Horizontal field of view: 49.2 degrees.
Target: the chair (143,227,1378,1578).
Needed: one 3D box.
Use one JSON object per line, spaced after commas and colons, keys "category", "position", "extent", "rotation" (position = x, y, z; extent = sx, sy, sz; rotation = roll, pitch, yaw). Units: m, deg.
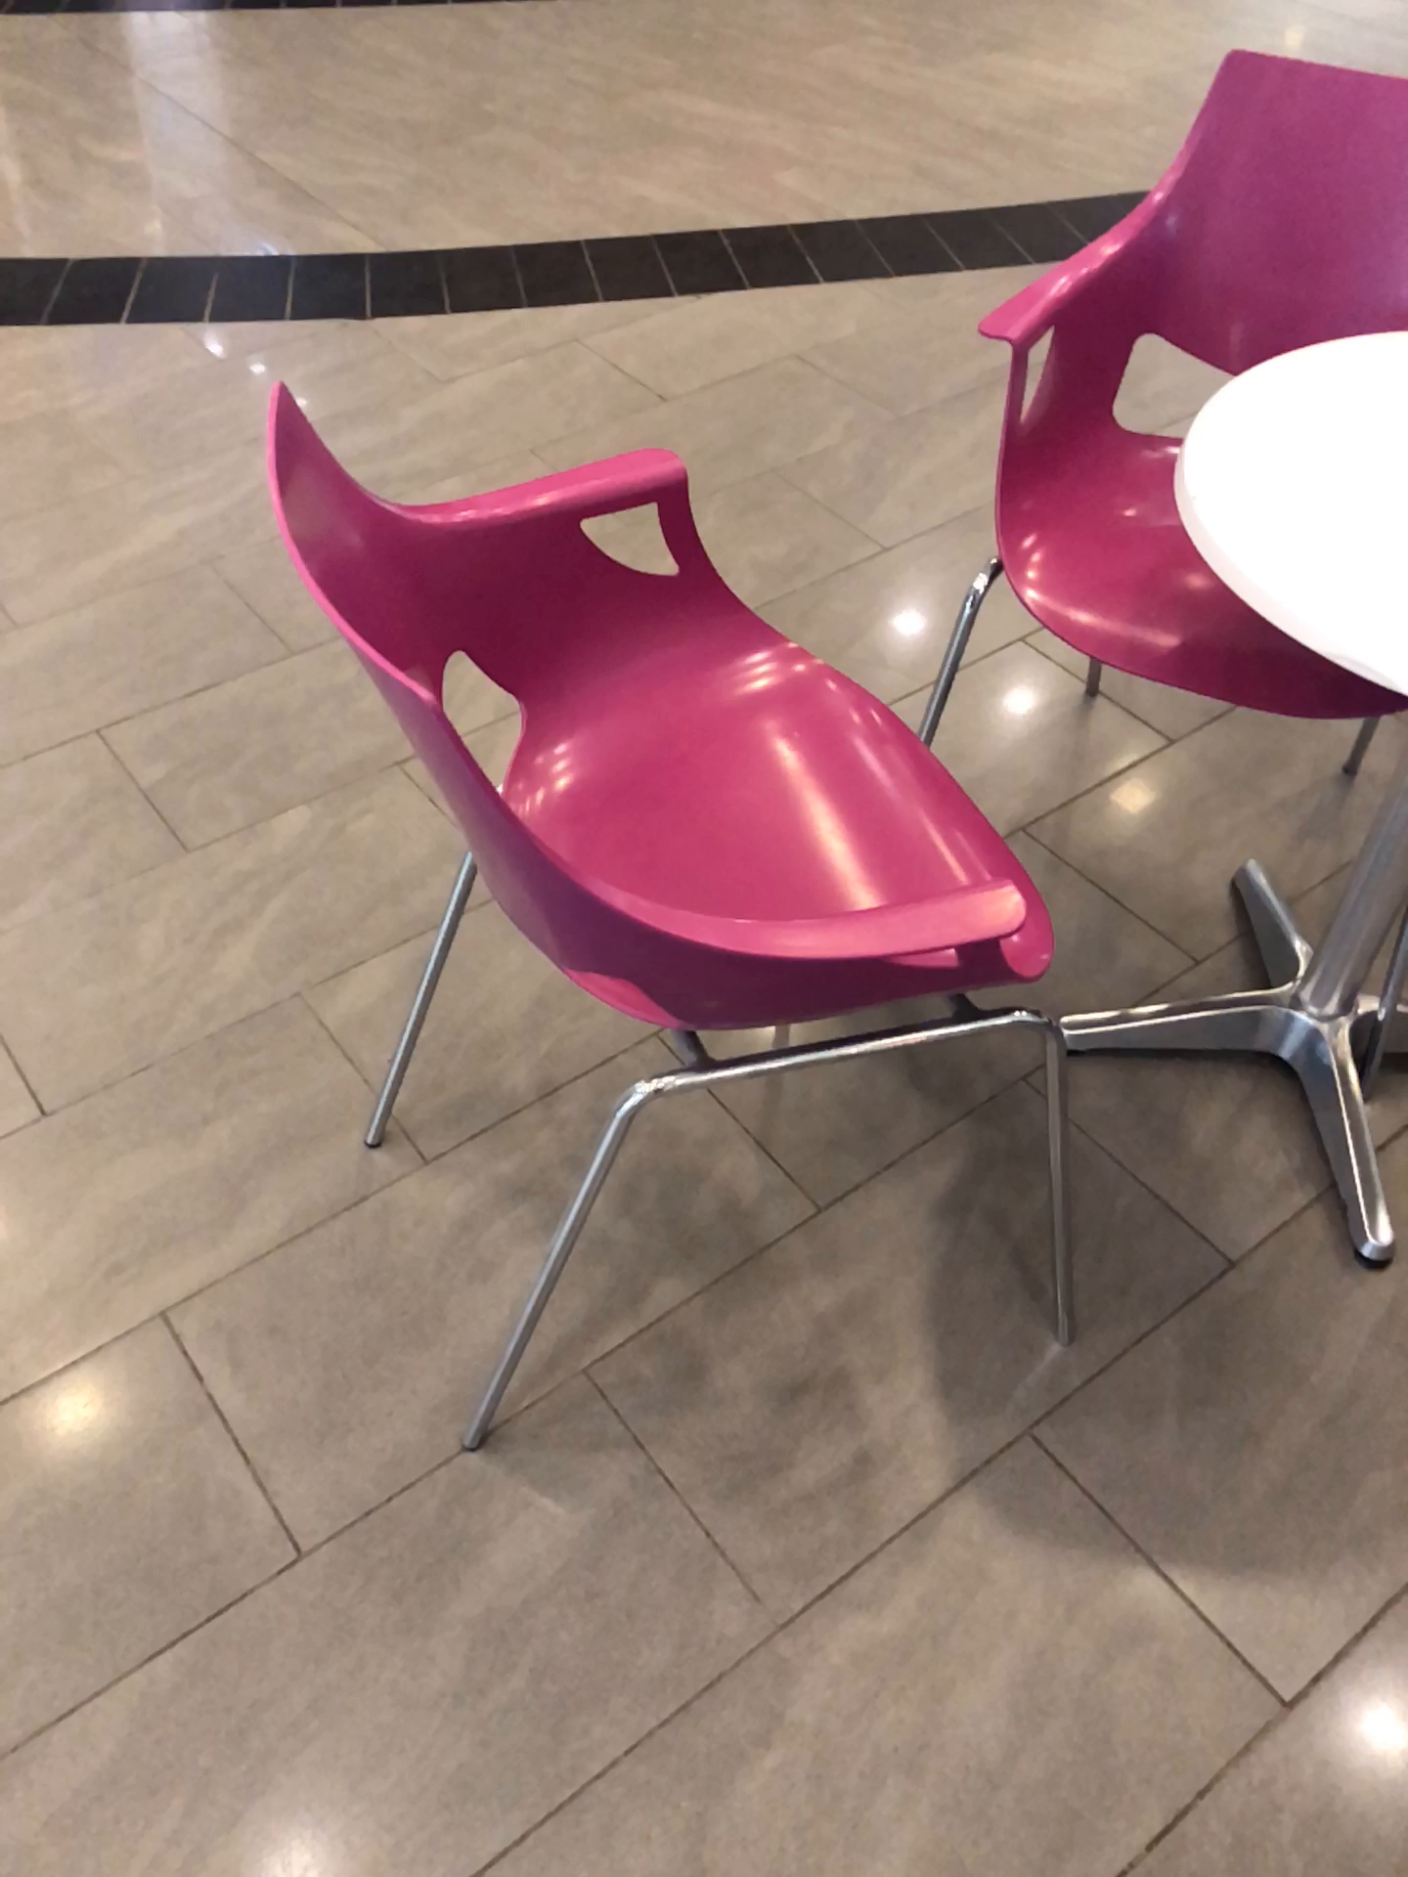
{"category": "chair", "position": [-0.021, -0.031, 1.249], "extent": [0.590, 0.757, 0.632], "rotation": [-15, 48, -15]}
